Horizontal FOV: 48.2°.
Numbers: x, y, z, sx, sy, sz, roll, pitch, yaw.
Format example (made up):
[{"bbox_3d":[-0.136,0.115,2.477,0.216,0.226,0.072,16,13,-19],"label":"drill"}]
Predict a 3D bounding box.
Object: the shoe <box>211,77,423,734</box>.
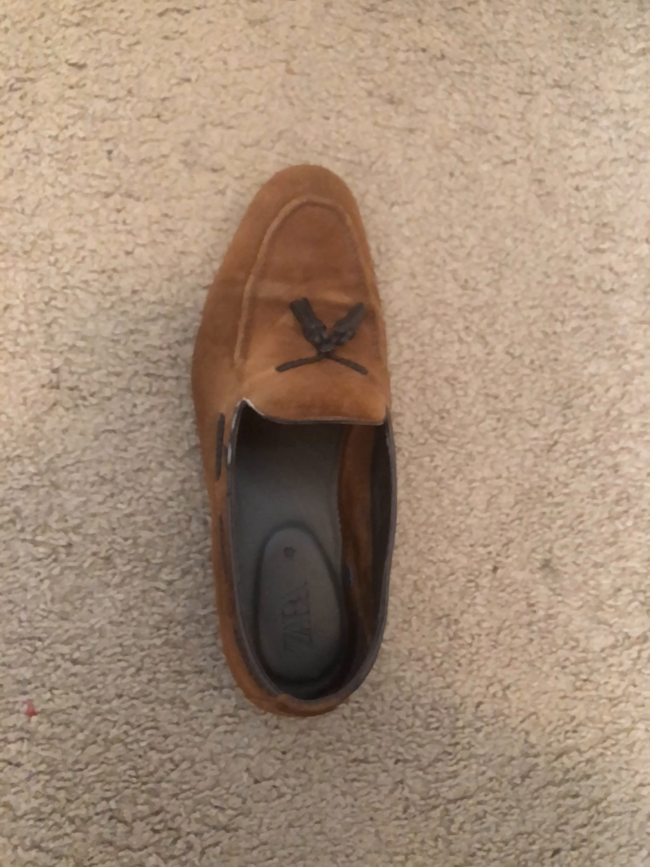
[{"bbox_3d":[-0.009,-0.013,0.377,0.090,0.100,0.292,2,83,-10],"label":"shoe"}]
